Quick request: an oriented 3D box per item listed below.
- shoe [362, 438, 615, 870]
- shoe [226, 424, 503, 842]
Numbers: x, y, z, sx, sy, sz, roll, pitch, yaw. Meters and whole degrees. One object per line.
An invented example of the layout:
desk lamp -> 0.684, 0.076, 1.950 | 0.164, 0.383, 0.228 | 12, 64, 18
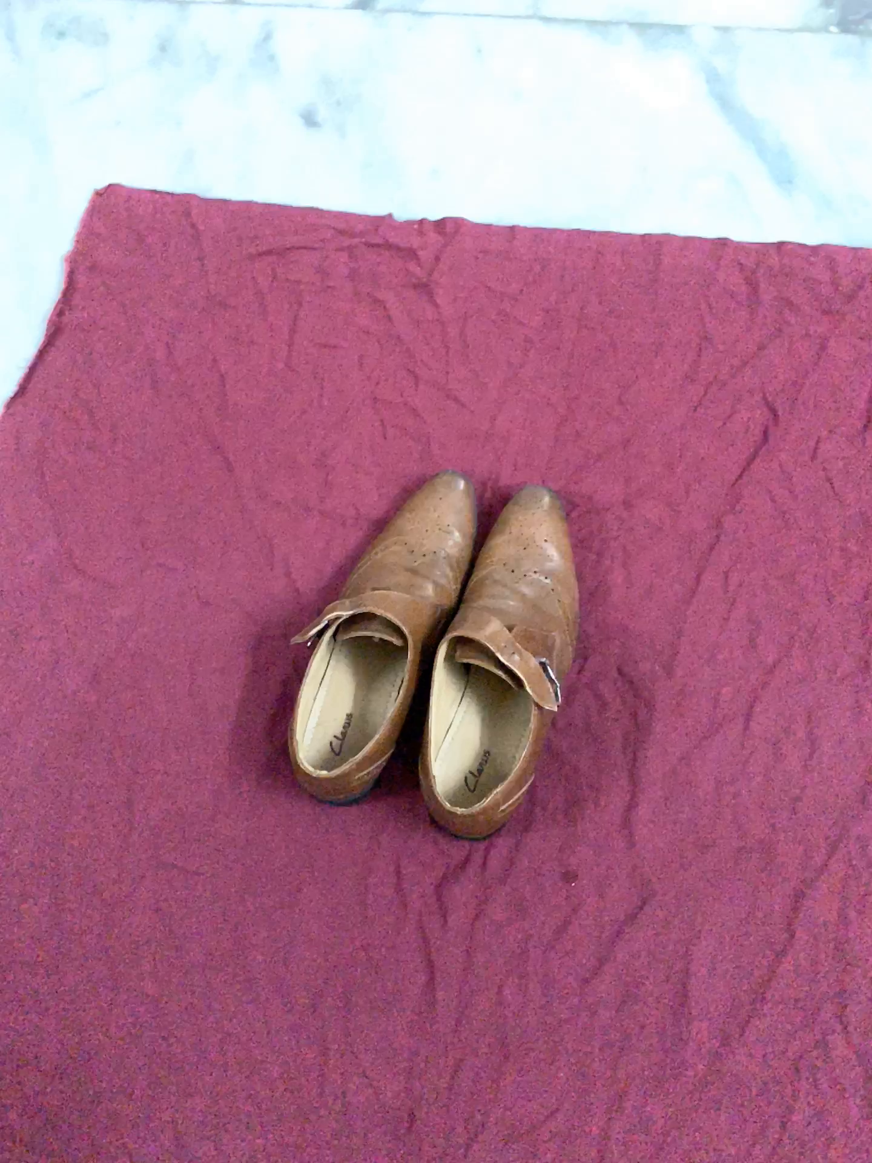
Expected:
shoe -> 0.047, 0.051, 0.682 | 0.100, 0.090, 0.301 | 15, 70, 10
shoe -> -0.045, 0.037, 0.721 | 0.100, 0.090, 0.311 | 18, 71, 12
